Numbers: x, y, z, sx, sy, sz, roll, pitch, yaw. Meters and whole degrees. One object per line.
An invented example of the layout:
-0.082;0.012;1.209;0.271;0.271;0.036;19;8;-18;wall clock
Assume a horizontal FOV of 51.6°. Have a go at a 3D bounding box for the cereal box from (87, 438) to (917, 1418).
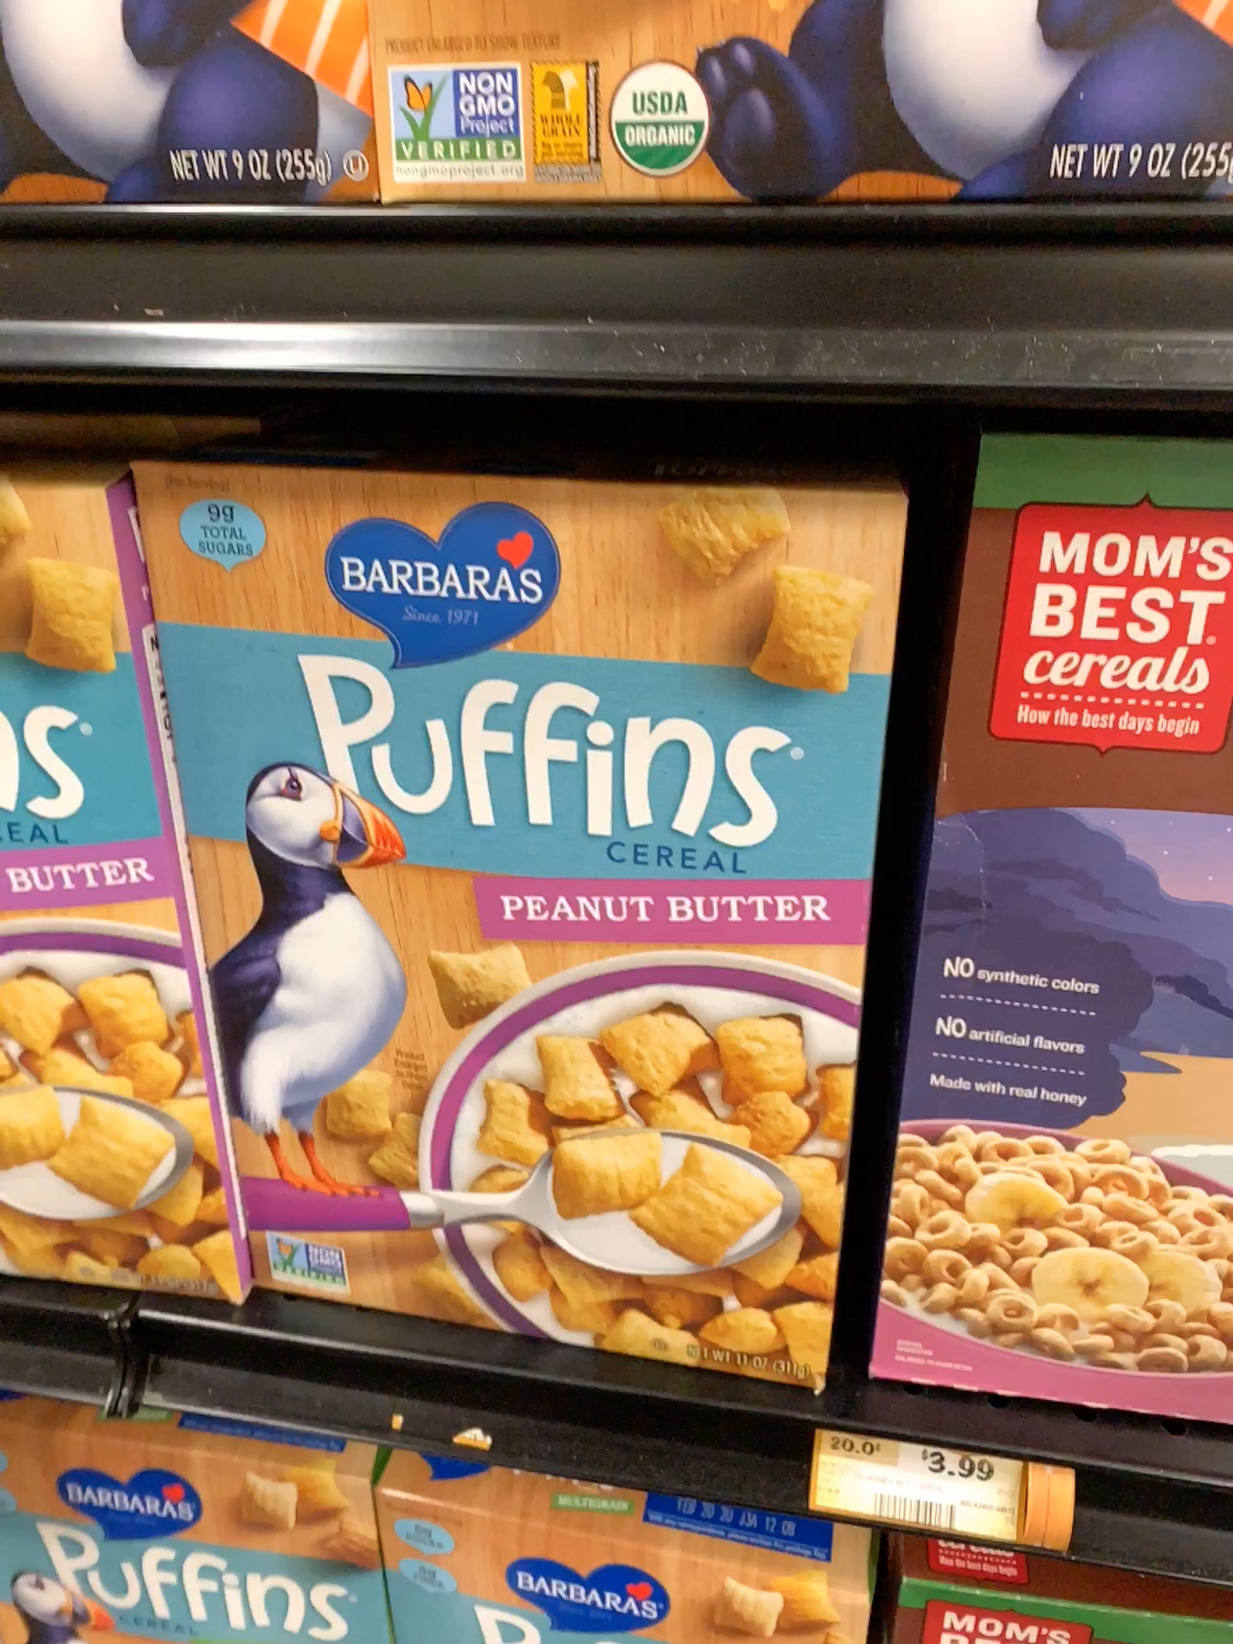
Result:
-0.027;0.029;0.373;0.200;0.259;0.070;5;21;12;cereal box
